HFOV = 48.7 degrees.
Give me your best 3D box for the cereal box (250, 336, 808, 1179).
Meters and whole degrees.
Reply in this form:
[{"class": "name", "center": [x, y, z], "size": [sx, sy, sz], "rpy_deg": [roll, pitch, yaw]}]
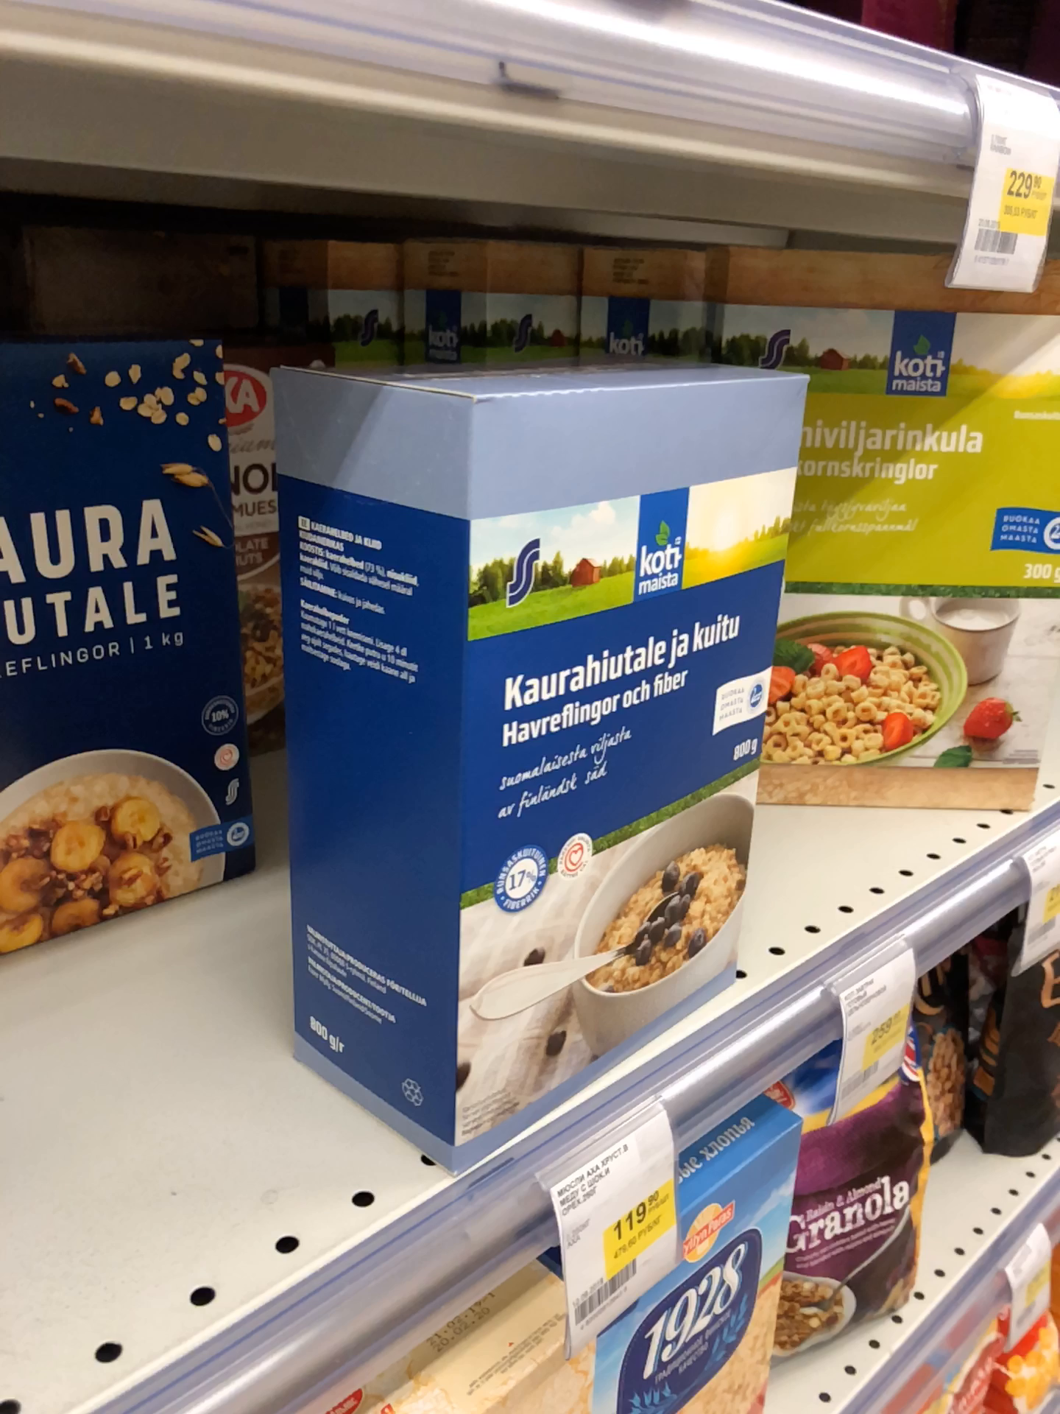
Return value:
[{"class": "cereal box", "center": [0.002, 0.001, 0.369], "size": [0.080, 0.219, 0.150], "rpy_deg": [18, 24, 38]}]
